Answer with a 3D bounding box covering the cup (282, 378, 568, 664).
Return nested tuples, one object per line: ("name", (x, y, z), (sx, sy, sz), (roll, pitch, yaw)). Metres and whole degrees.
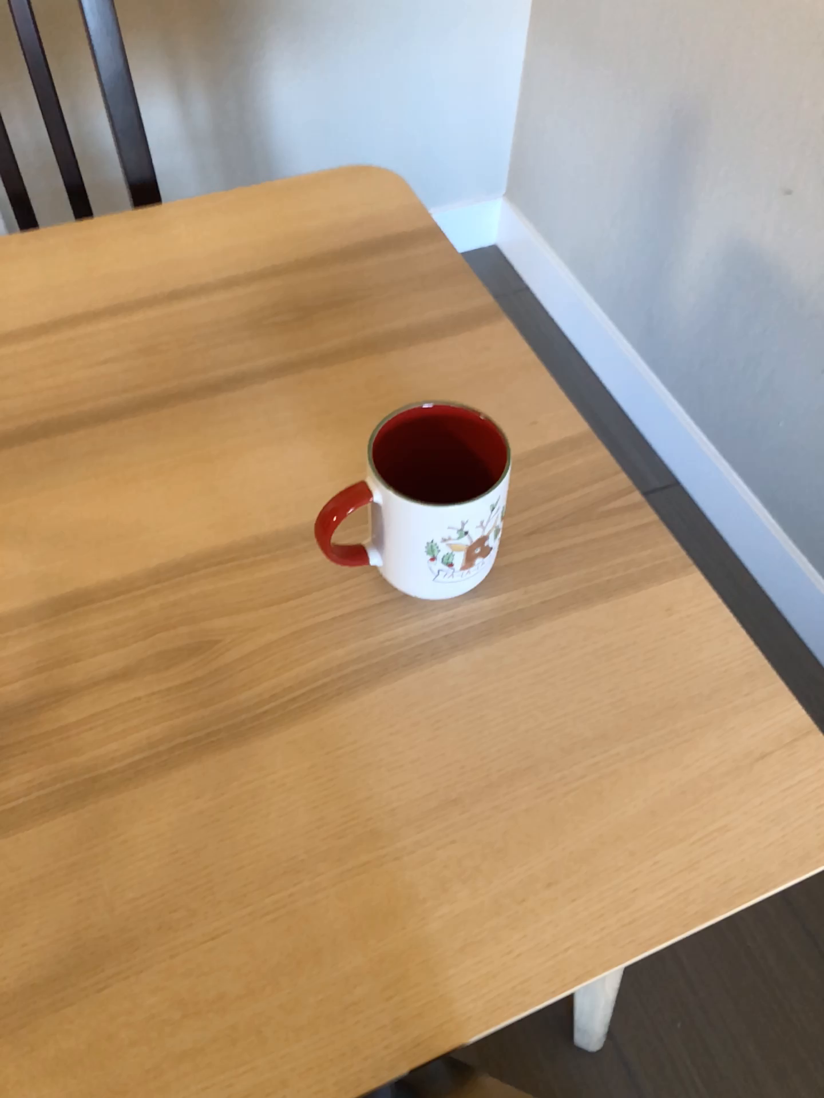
("cup", (0.006, -0.020, 0.585), (0.140, 0.100, 0.100), (-24, 56, -19))
